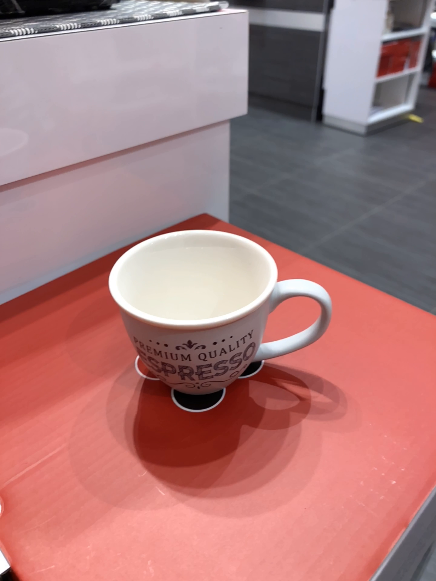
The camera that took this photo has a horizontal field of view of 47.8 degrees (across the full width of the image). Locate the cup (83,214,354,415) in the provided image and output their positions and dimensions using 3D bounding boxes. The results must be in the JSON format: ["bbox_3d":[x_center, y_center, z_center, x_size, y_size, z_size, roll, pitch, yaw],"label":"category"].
[{"bbox_3d":[0.002,0.005,0.207,0.090,0.040,0.080,2,35,4],"label":"cup"}]
